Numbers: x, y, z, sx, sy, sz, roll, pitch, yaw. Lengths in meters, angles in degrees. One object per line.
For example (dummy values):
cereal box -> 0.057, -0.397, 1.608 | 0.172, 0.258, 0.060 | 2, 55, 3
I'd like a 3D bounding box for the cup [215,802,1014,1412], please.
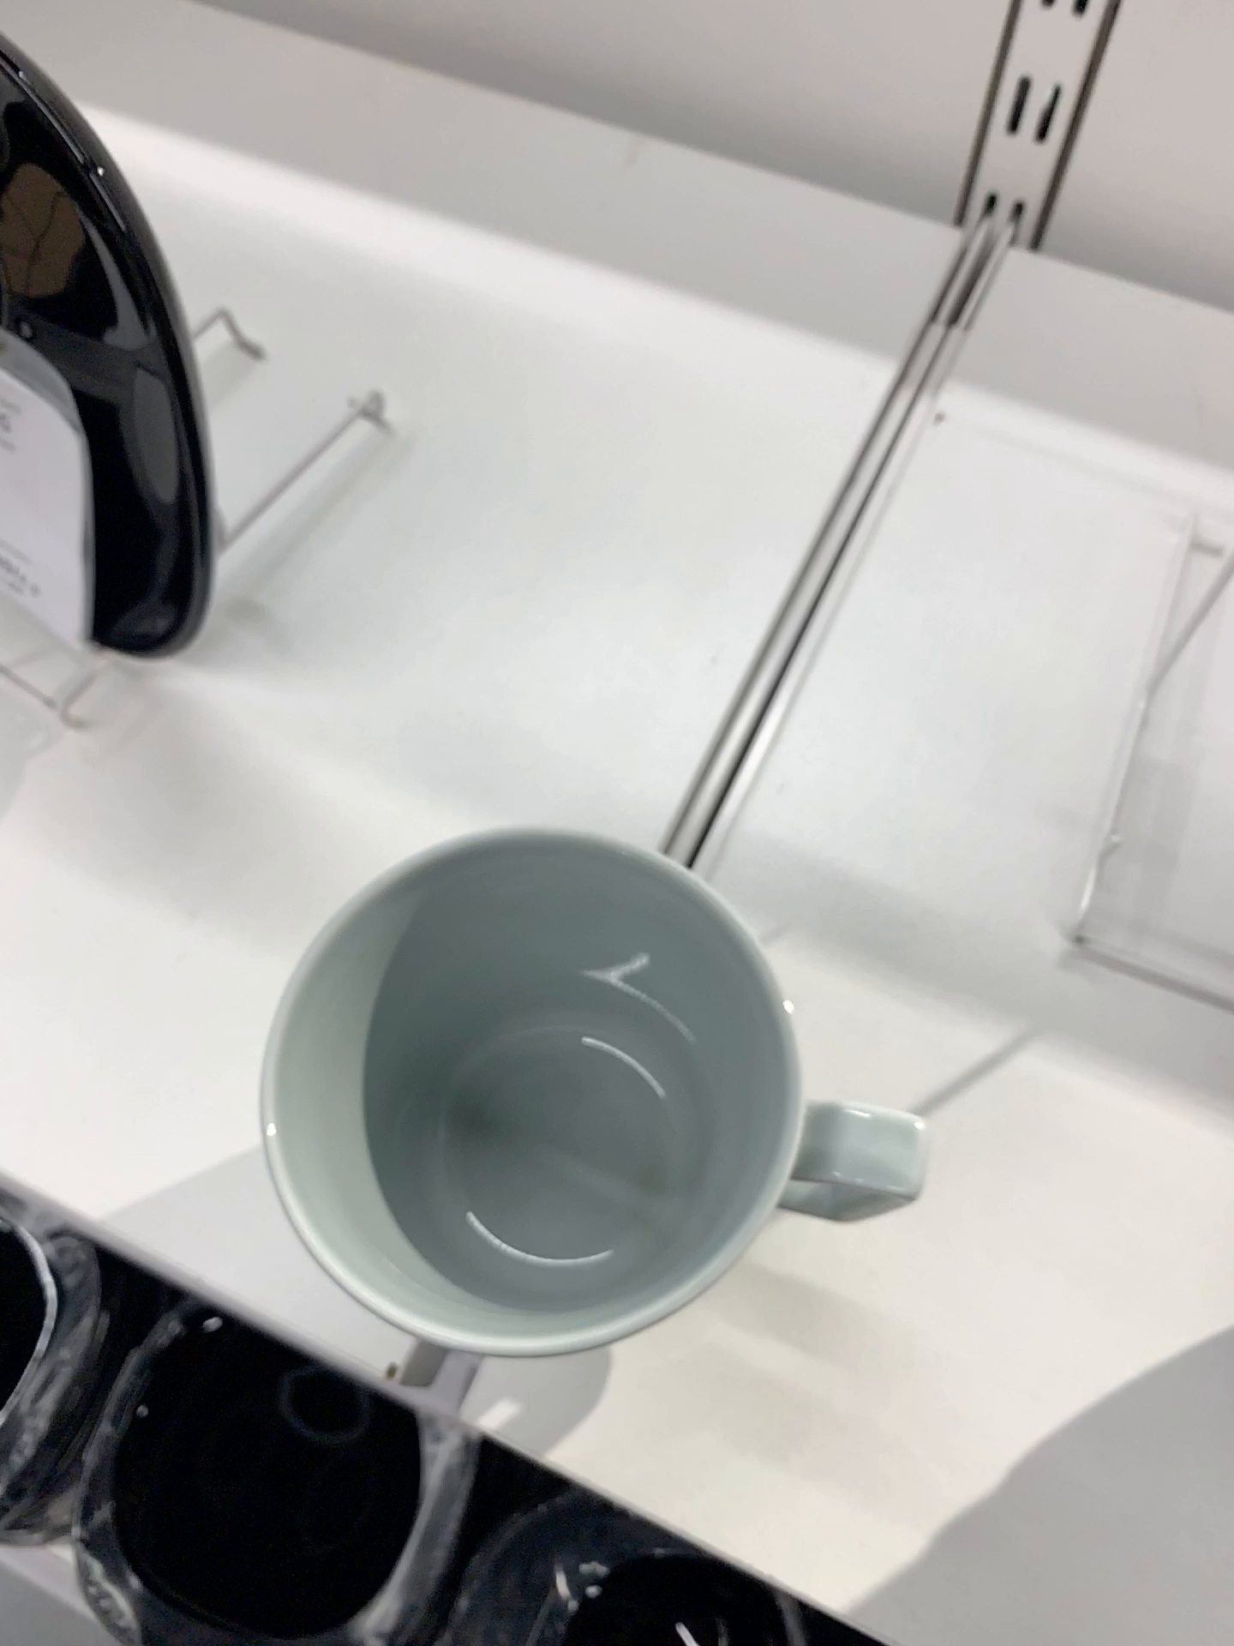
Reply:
cup -> -0.003, 0.060, 0.264 | 0.130, 0.070, 0.100 | -3, 64, -1
